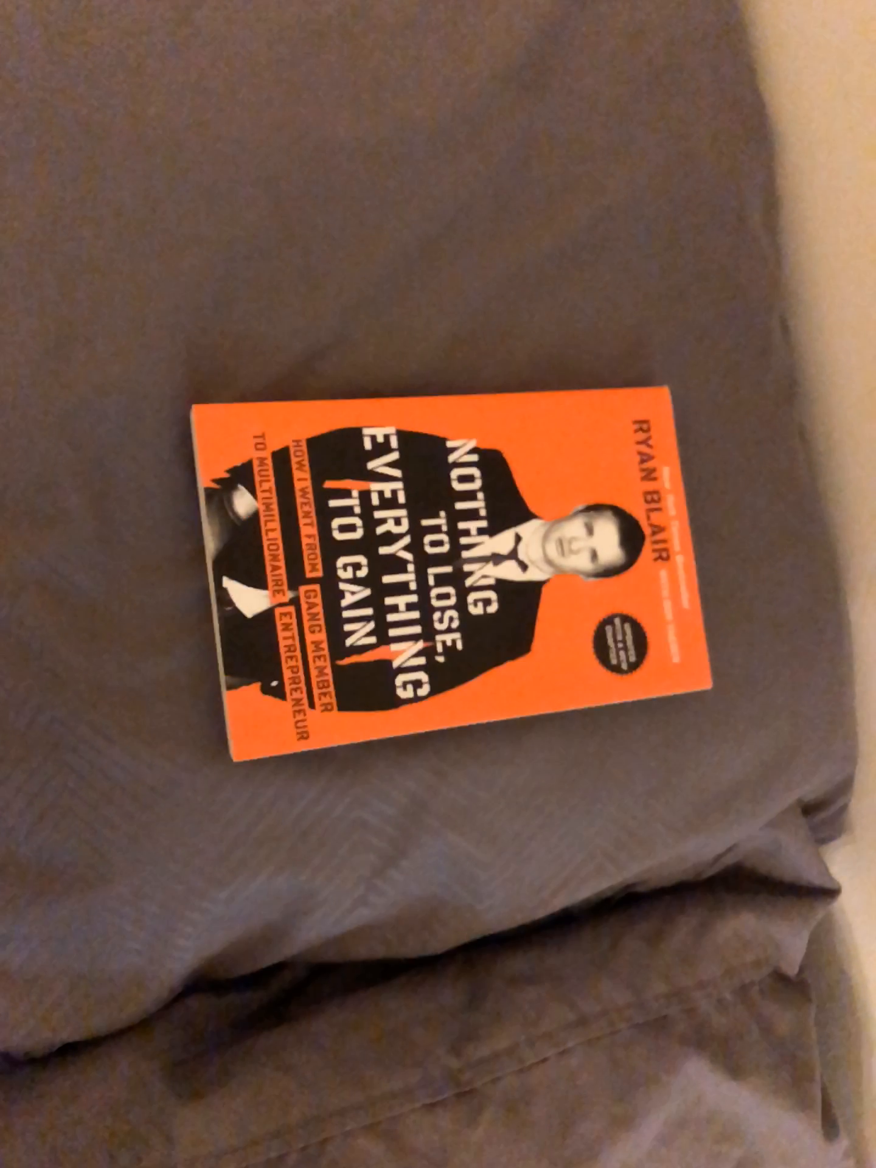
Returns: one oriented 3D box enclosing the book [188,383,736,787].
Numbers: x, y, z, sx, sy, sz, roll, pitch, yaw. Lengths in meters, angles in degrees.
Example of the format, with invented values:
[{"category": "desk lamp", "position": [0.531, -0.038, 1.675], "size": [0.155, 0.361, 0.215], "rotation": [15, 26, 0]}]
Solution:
[{"category": "book", "position": [0.018, -0.007, 0.424], "size": [0.230, 0.020, 0.150], "rotation": [-6, 89, -19]}]
